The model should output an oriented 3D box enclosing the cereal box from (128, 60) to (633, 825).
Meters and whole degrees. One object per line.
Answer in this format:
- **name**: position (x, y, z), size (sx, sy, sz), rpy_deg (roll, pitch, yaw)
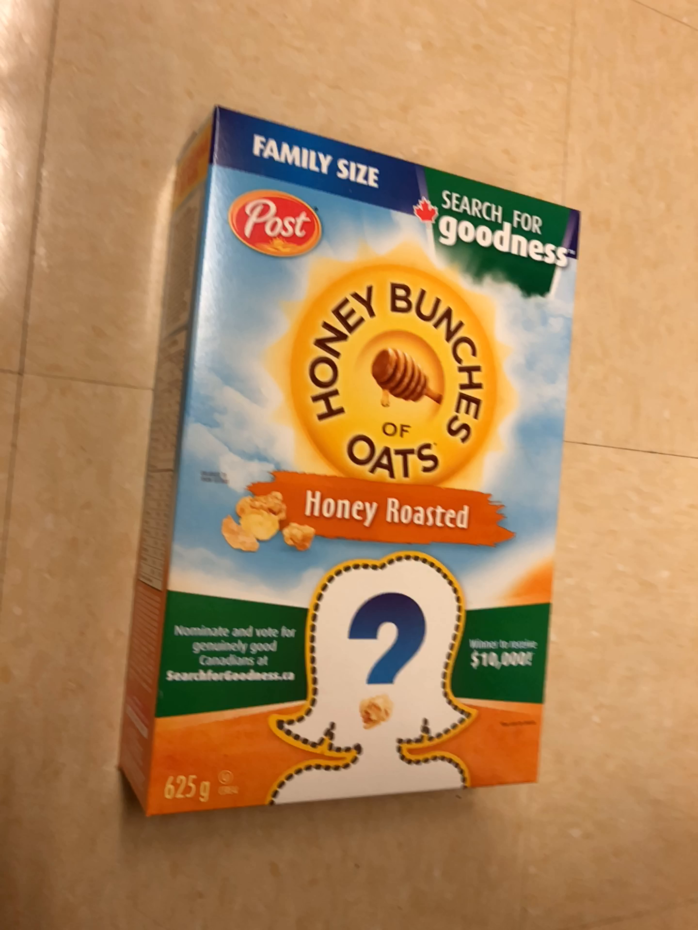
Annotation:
- **cereal box**: position (0.025, -0.002, 0.362), size (0.210, 0.070, 0.290), rpy_deg (8, 82, -25)
